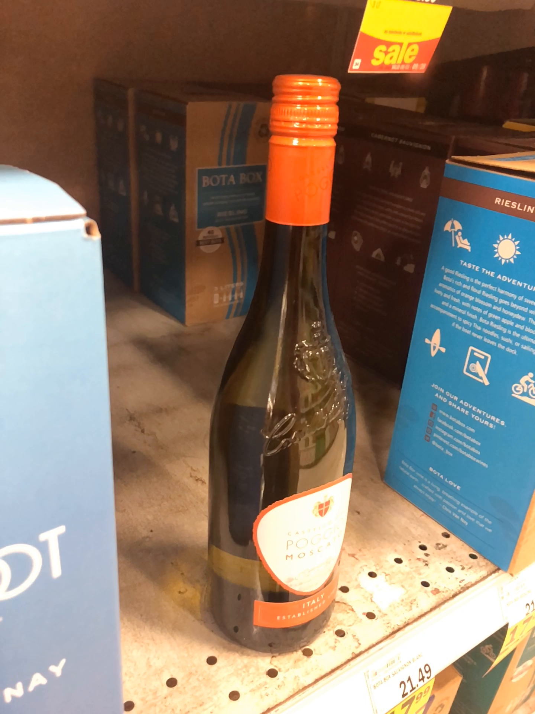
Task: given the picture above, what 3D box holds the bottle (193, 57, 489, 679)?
[{"bbox_3d":[0.019,0.021,0.299,0.080,0.299,0.070,-16,35,-34],"label":"bottle"}]
